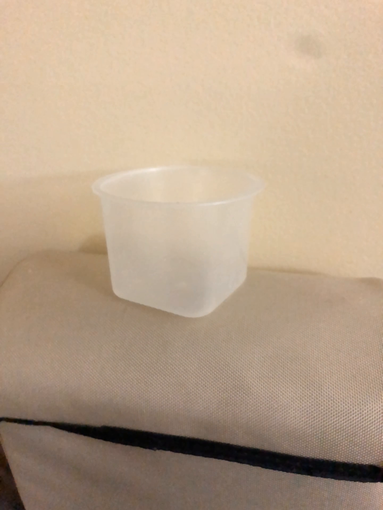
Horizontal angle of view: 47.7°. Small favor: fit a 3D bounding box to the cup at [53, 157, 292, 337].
[{"bbox_3d":[-0.004,-0.012,0.204,0.080,0.046,0.076,-1,26,1],"label":"cup"}]
